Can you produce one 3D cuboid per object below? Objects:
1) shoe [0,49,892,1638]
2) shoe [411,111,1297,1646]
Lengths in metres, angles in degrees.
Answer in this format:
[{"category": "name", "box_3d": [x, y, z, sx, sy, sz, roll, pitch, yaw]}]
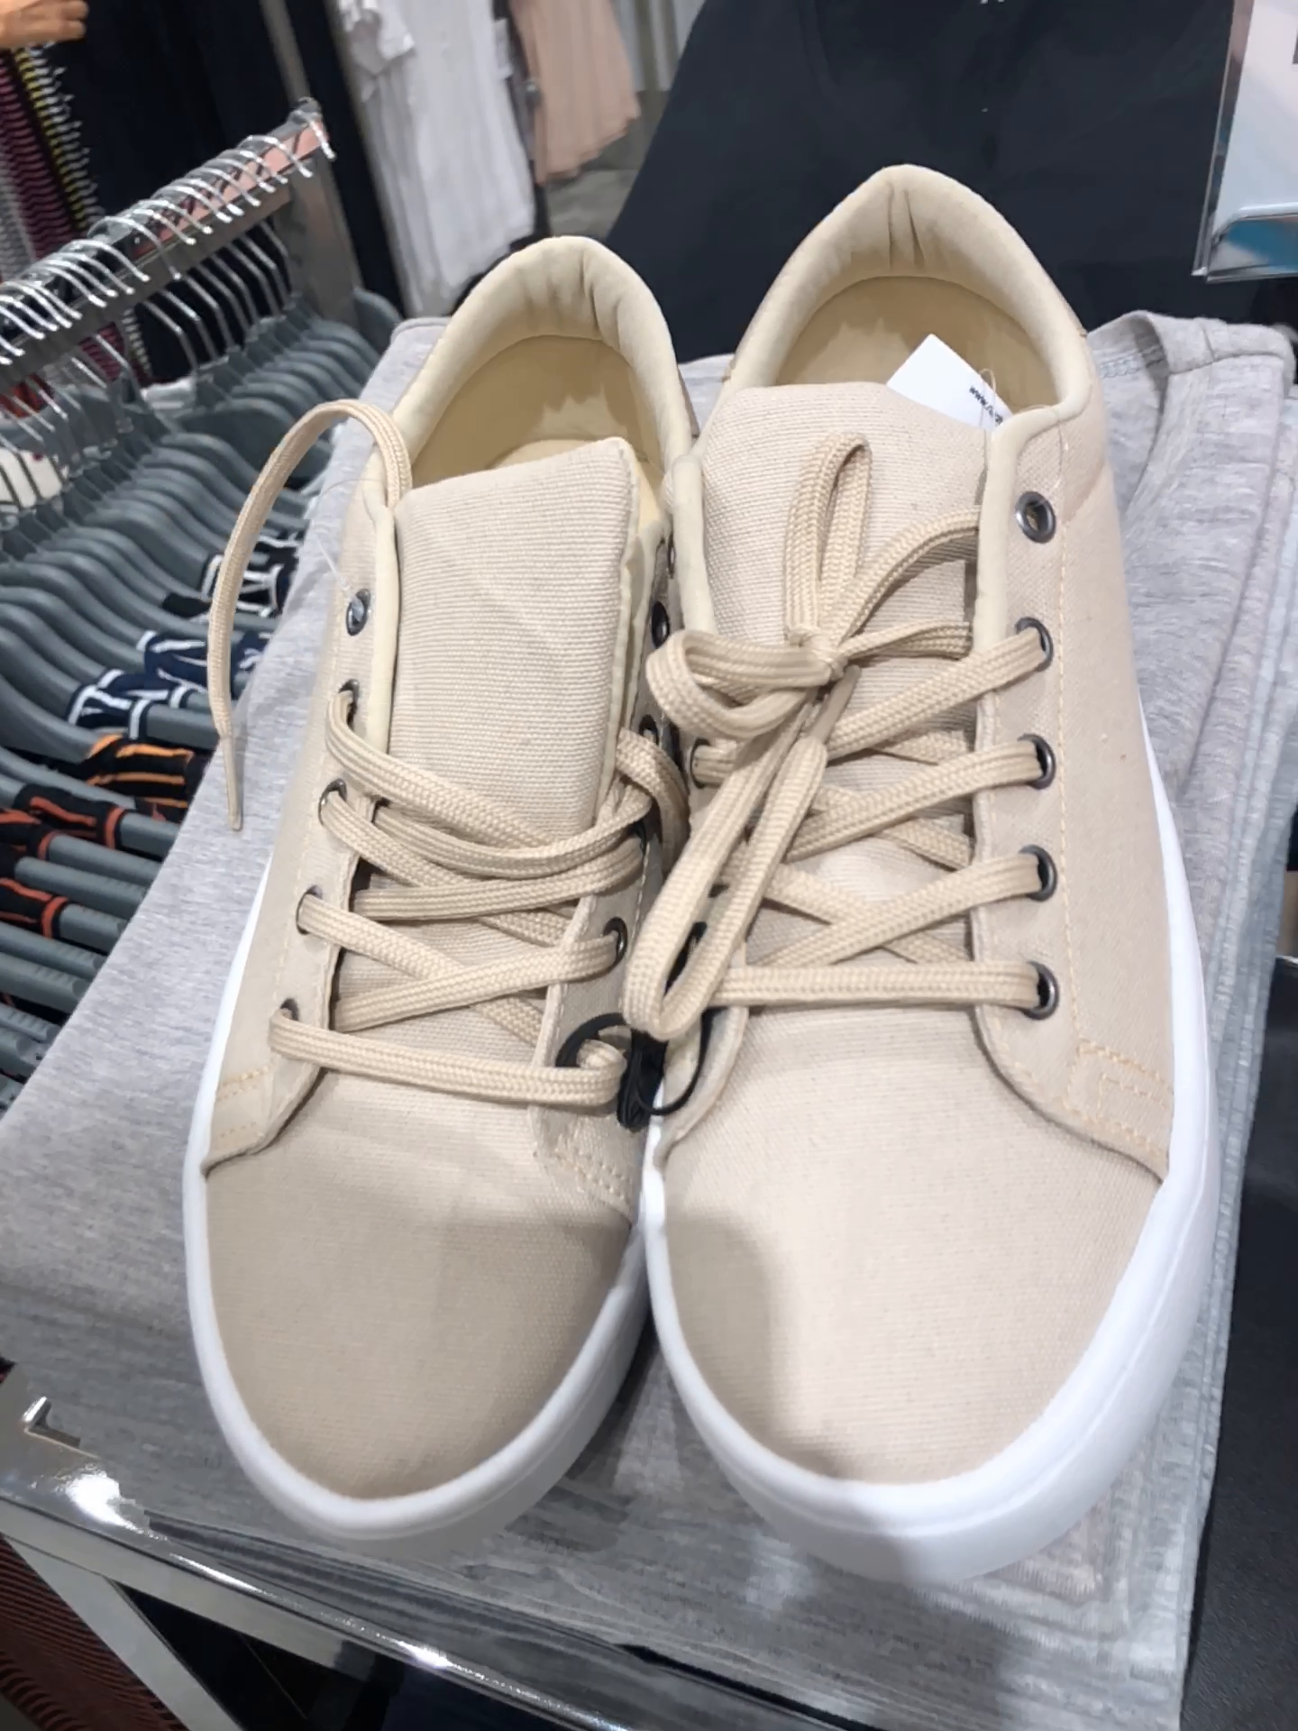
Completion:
[{"category": "shoe", "box_3d": [-0.022, -0.022, 0.278, 0.100, 0.109, 0.282, 8, 59, 6]}, {"category": "shoe", "box_3d": [0.058, -0.030, 0.281, 0.110, 0.109, 0.292, 1, 46, 12]}]
